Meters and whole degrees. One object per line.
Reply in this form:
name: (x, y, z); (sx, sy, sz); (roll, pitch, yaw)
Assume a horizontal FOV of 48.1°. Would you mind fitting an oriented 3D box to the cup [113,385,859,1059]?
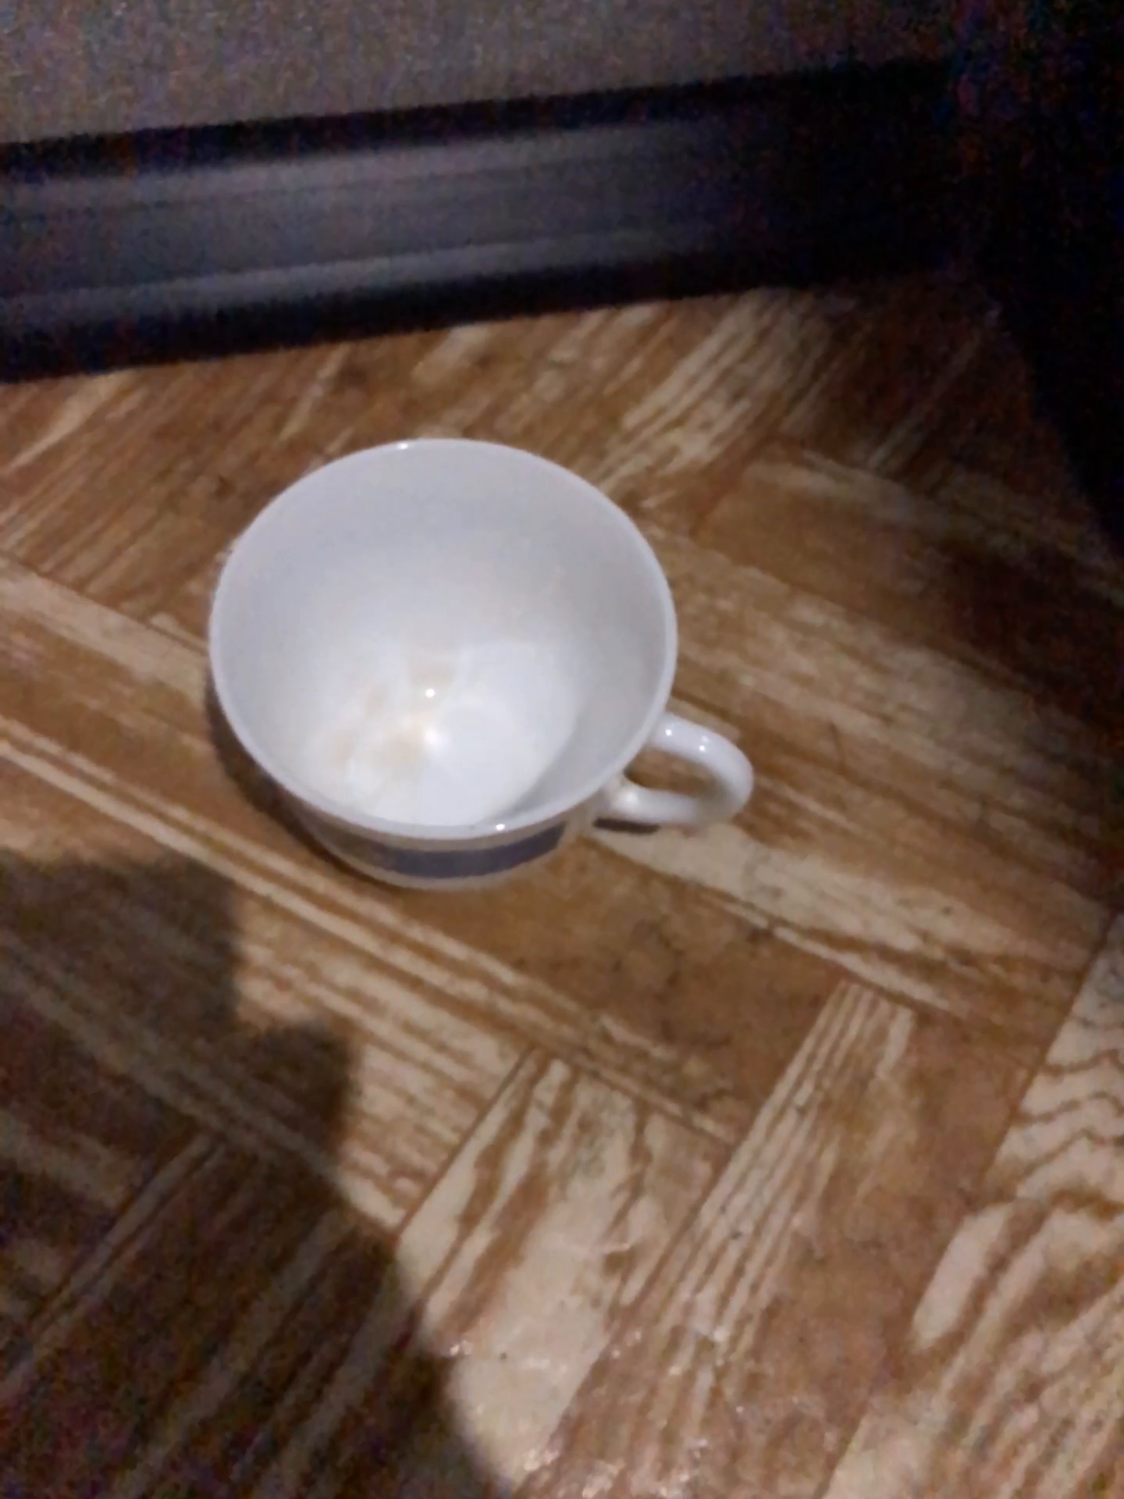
cup: (-0.011, -0.004, 0.250); (0.110, 0.062, 0.088); (17, 63, 2)
